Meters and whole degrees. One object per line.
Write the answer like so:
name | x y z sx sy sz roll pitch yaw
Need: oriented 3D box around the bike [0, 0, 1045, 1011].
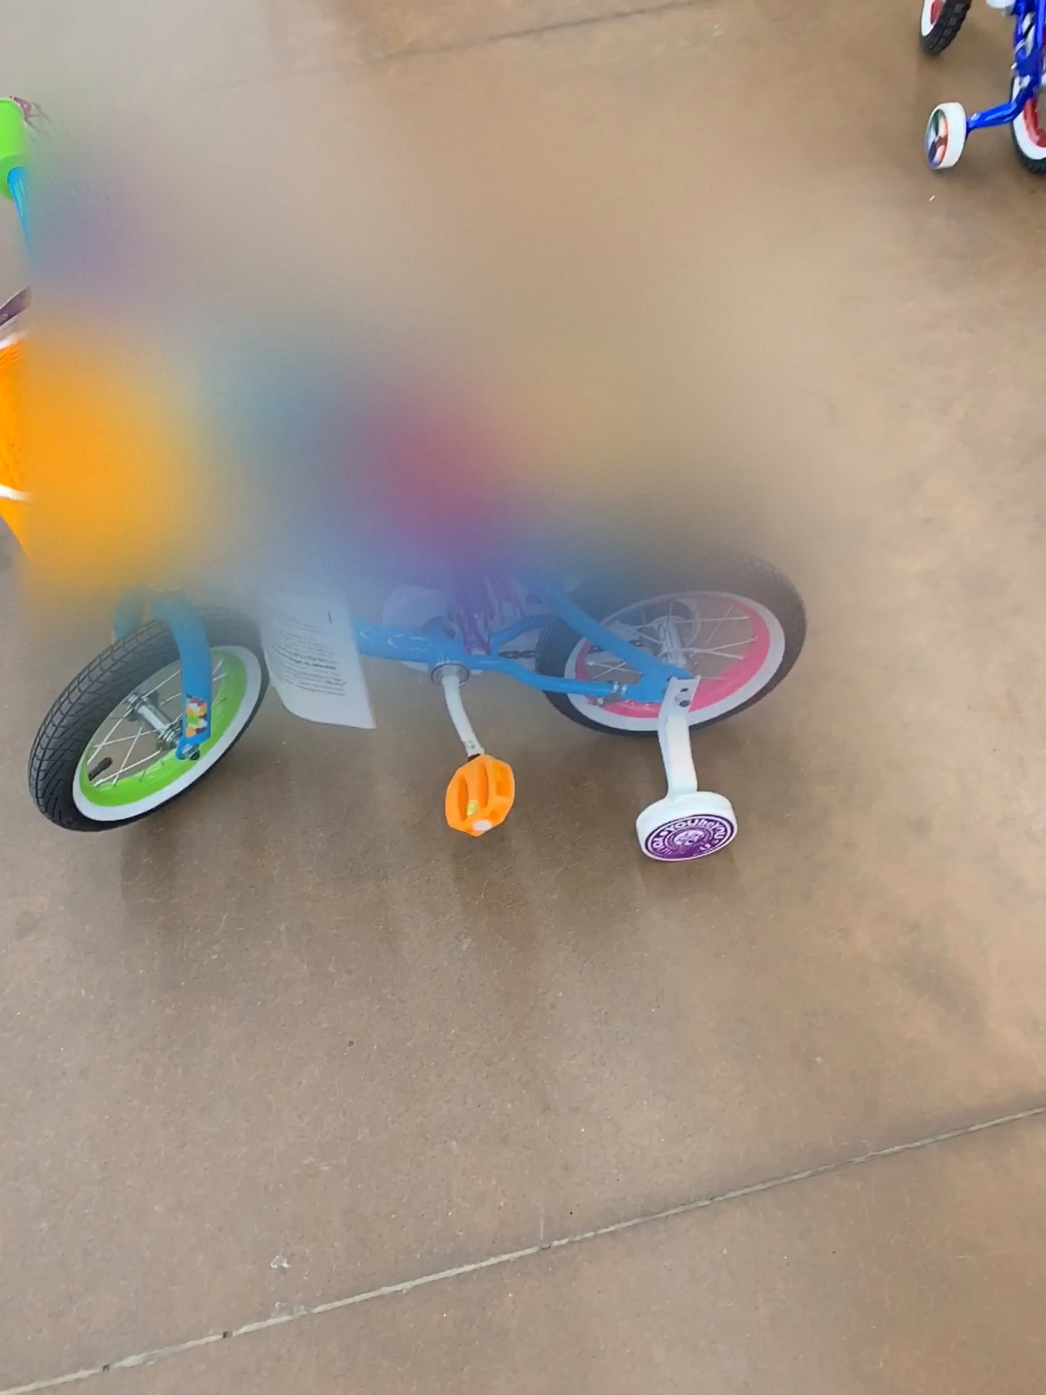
bike | -0.126 -0.179 1.025 0.815 0.664 0.554 -14 53 -8
